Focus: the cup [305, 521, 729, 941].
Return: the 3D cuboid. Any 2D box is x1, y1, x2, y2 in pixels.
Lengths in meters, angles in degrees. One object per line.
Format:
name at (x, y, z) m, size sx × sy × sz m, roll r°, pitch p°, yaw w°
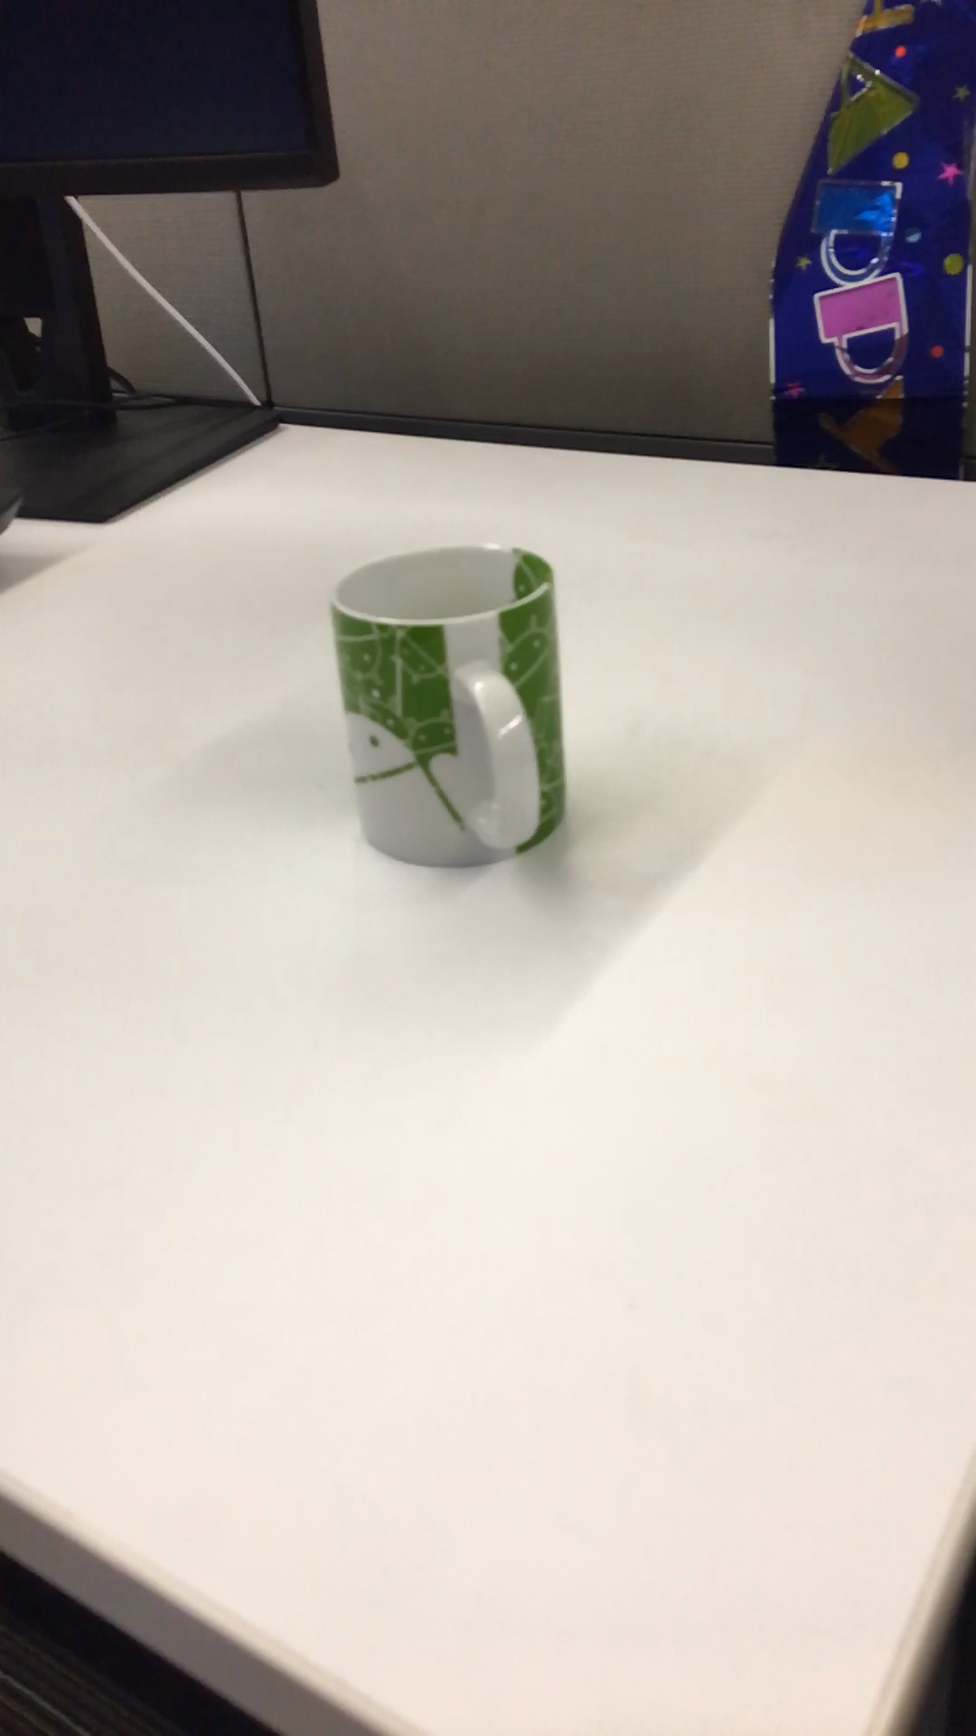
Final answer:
cup at (0.010, -0.052, 0.489) m, size 0.090 × 0.090 × 0.110 m, roll -24°, pitch 36°, yaw -28°
